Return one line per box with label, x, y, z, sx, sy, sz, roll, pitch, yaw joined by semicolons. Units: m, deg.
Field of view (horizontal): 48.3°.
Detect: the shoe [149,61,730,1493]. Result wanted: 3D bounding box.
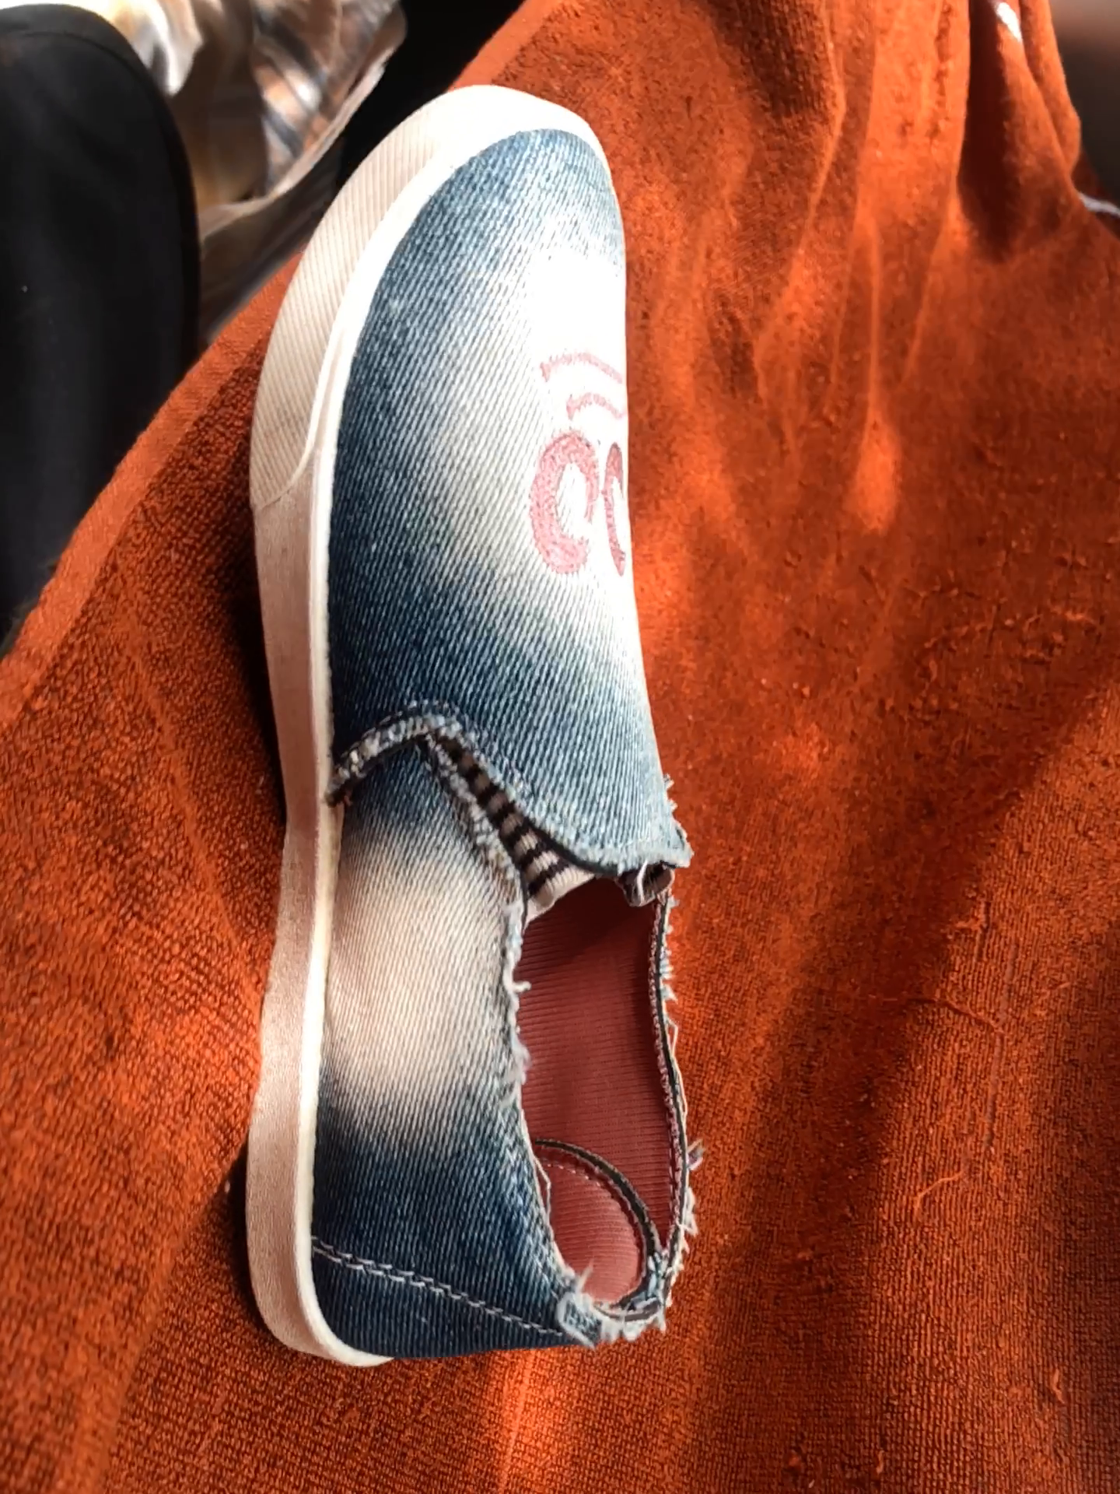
shoe;-0.021;0.009;0.262;0.091;0.079;0.240;0;88;-61
